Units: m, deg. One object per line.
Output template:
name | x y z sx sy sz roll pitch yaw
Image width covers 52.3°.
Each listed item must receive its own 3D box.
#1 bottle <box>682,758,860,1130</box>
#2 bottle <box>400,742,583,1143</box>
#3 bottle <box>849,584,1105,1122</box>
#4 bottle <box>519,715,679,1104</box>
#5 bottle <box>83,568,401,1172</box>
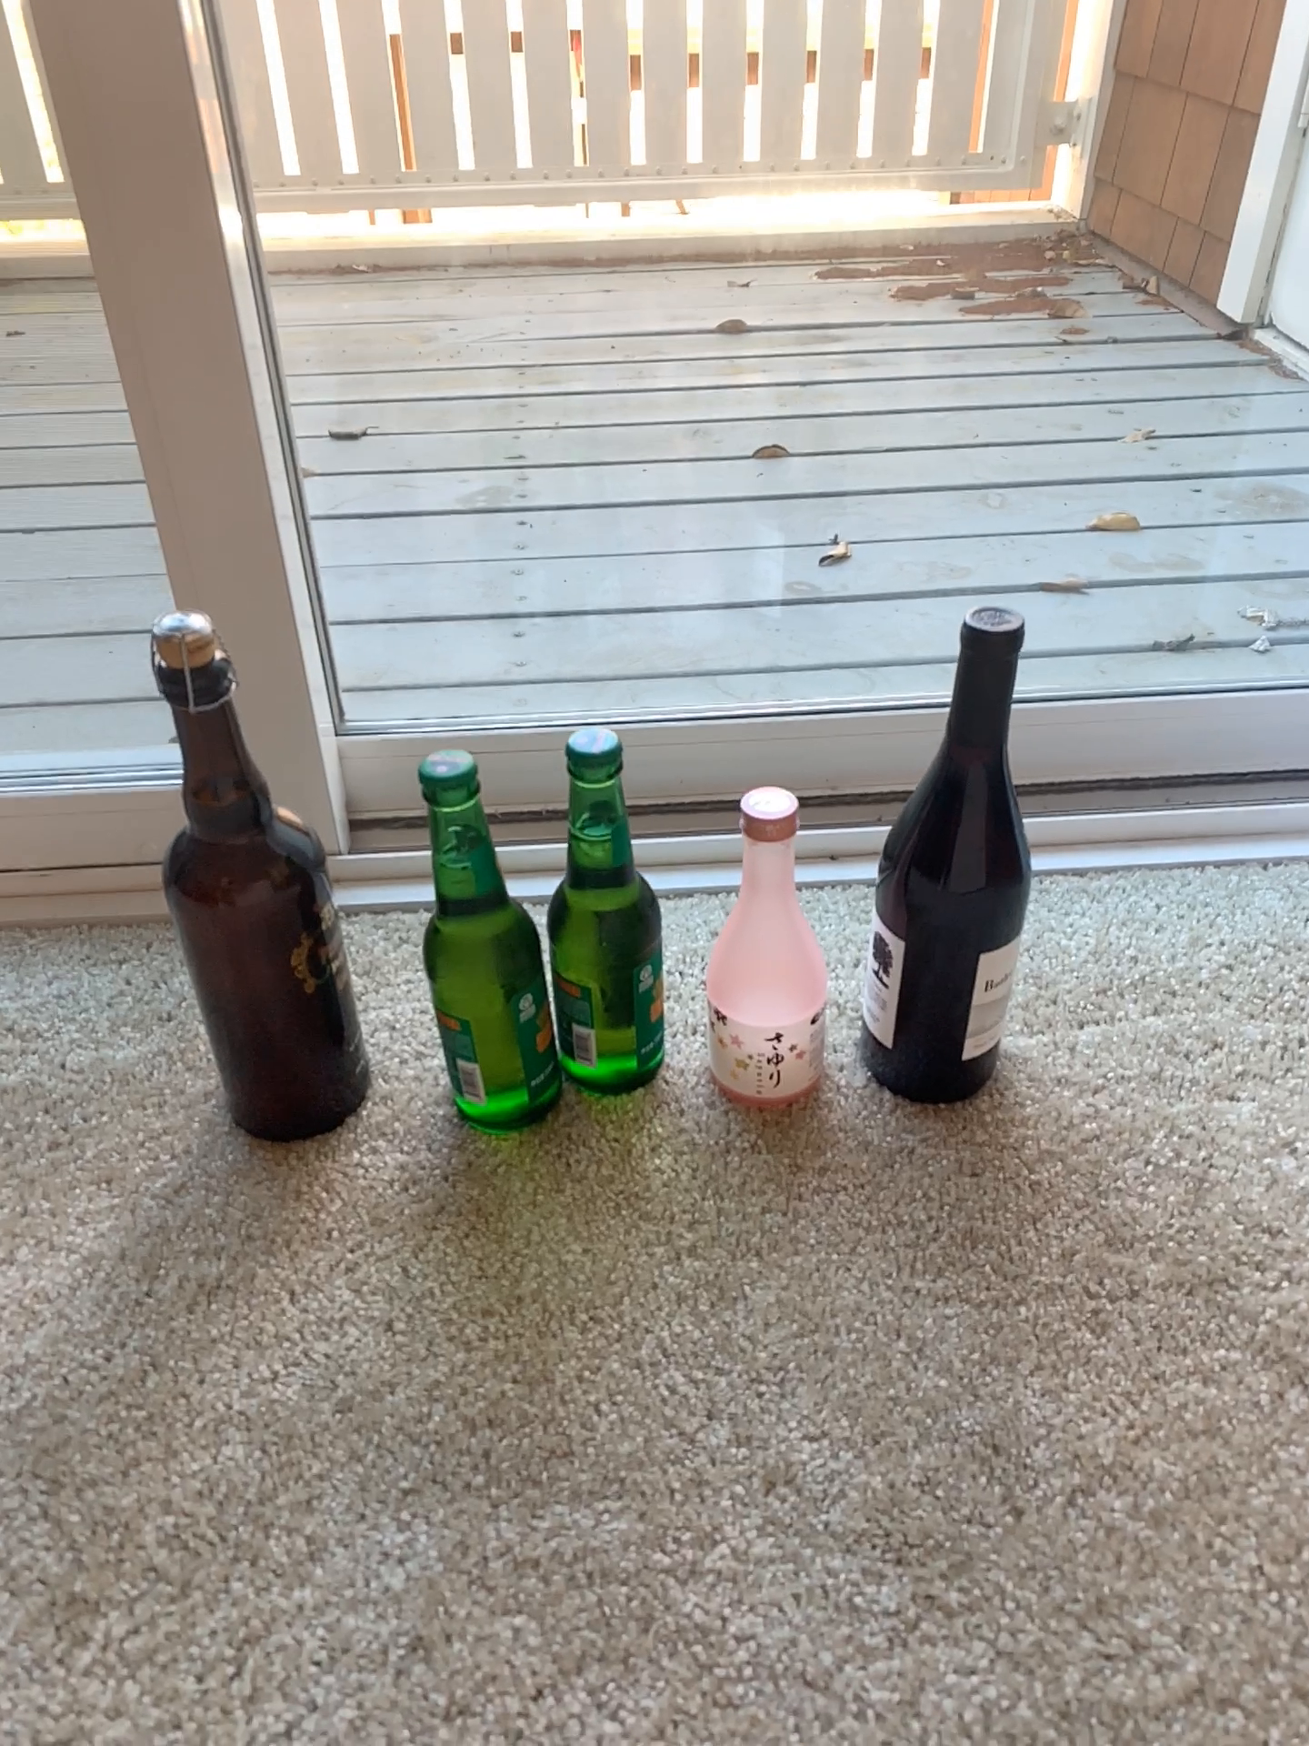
bottle | 0.059 0.038 0.686 0.070 0.169 0.080 9 38 13
bottle | -0.081 0.038 0.682 0.070 0.189 0.081 -7 37 -8
bottle | 0.162 -0.006 0.688 0.090 0.248 0.111 9 38 13
bottle | -0.028 0.022 0.701 0.070 0.189 0.081 -5 37 -6
bottle | -0.198 0.006 0.660 0.090 0.278 0.101 -13 38 -15
